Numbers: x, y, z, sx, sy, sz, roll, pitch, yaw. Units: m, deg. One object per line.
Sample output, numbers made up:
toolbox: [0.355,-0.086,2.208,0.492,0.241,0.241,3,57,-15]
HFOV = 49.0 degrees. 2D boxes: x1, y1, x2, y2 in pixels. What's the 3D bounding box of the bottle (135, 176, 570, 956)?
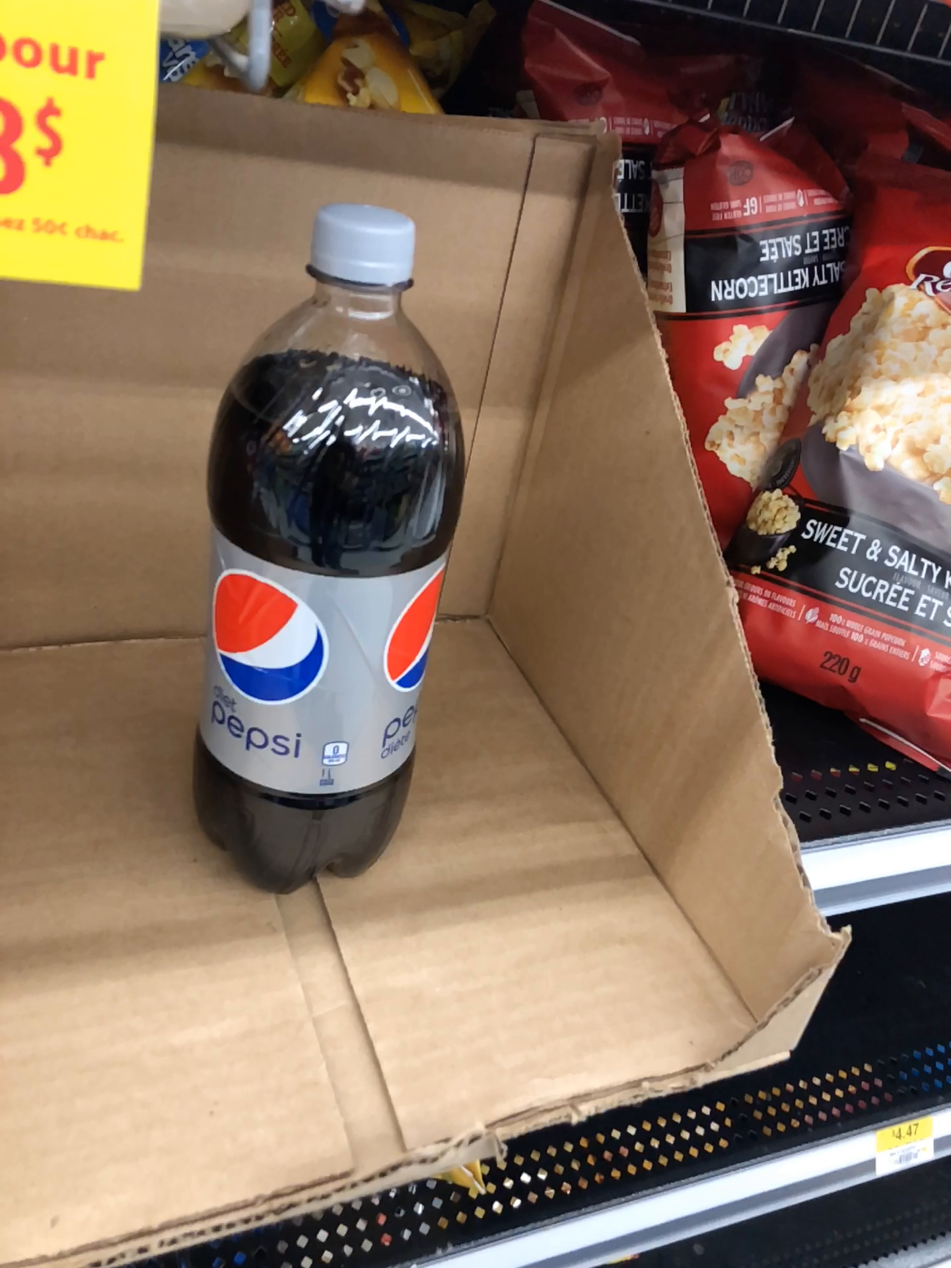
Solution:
bottle: [-0.049,-0.016,0.346,0.080,0.228,0.091,26,36,19]
